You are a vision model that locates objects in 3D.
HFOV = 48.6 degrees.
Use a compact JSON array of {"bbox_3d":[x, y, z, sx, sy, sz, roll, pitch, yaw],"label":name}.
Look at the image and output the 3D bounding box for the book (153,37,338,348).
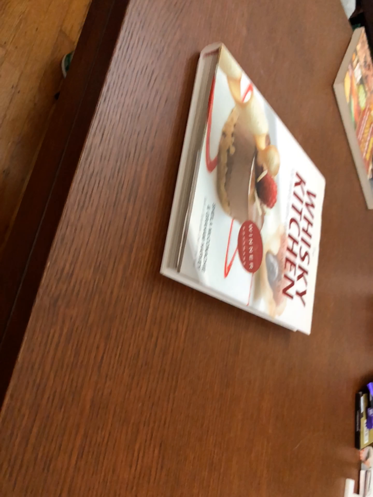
[{"bbox_3d":[0.088,-0.030,0.430,0.271,0.040,0.220,29,65,-48],"label":"book"}]
